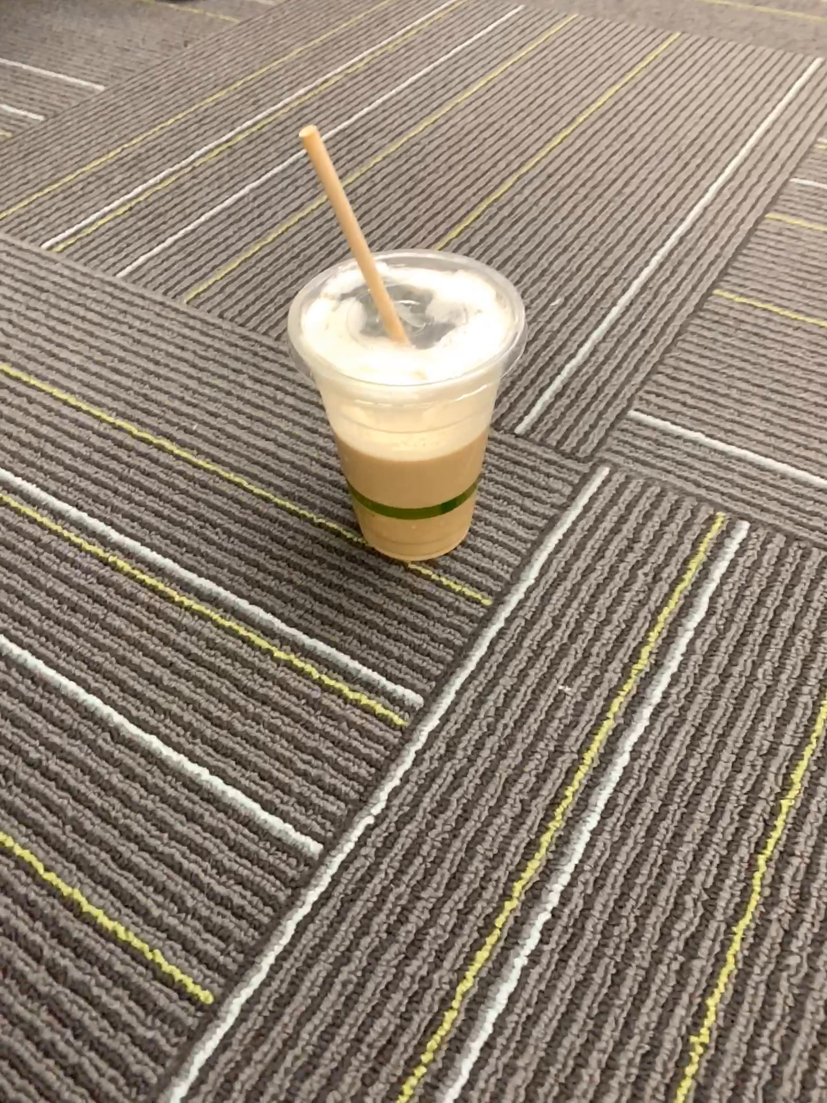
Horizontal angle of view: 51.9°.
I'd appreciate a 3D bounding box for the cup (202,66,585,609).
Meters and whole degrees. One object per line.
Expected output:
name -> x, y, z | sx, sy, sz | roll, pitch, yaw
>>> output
cup -> -0.006, -0.082, 0.358 | 0.100, 0.179, 0.090 | -24, 52, -17
